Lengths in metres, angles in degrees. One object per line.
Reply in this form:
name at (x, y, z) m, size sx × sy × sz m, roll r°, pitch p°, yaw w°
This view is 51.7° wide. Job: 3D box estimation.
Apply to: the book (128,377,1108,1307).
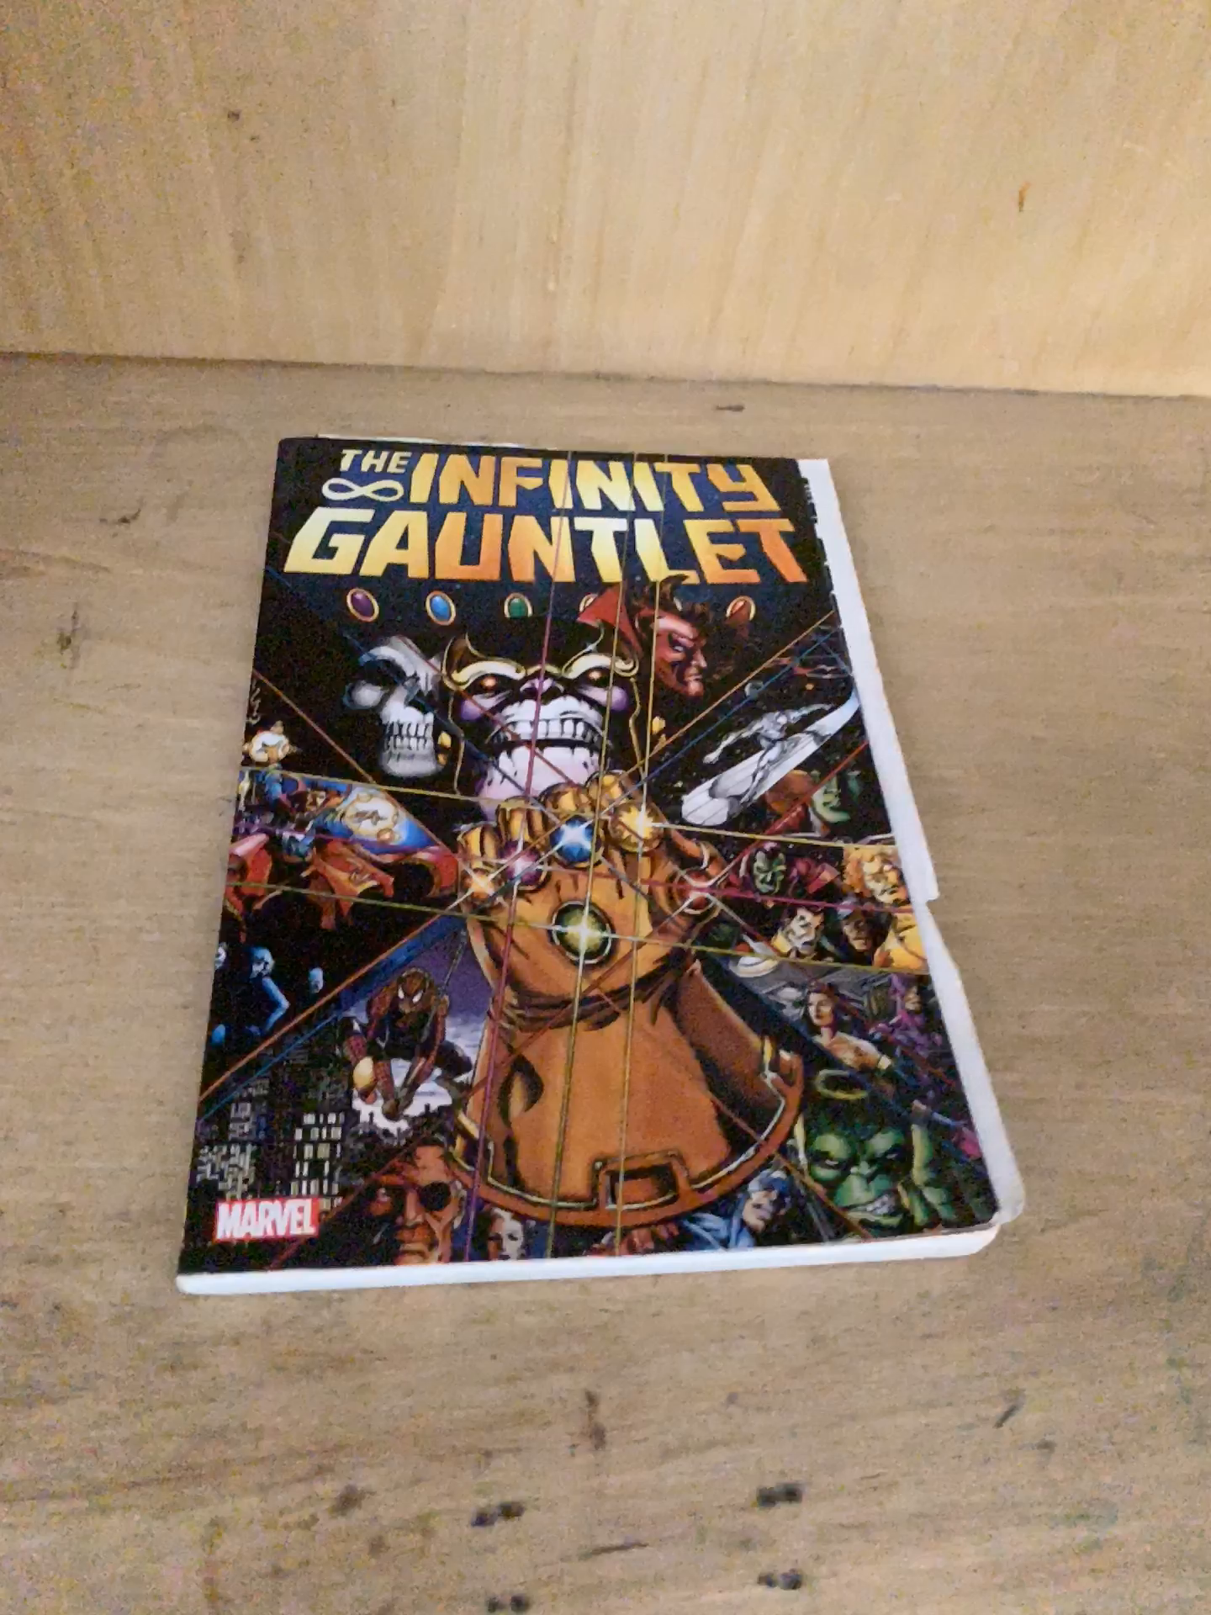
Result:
book at (-0.004, -0.017, 0.333) m, size 0.190 × 0.030 × 0.272 m, roll 0°, pitch 53°, yaw -7°
